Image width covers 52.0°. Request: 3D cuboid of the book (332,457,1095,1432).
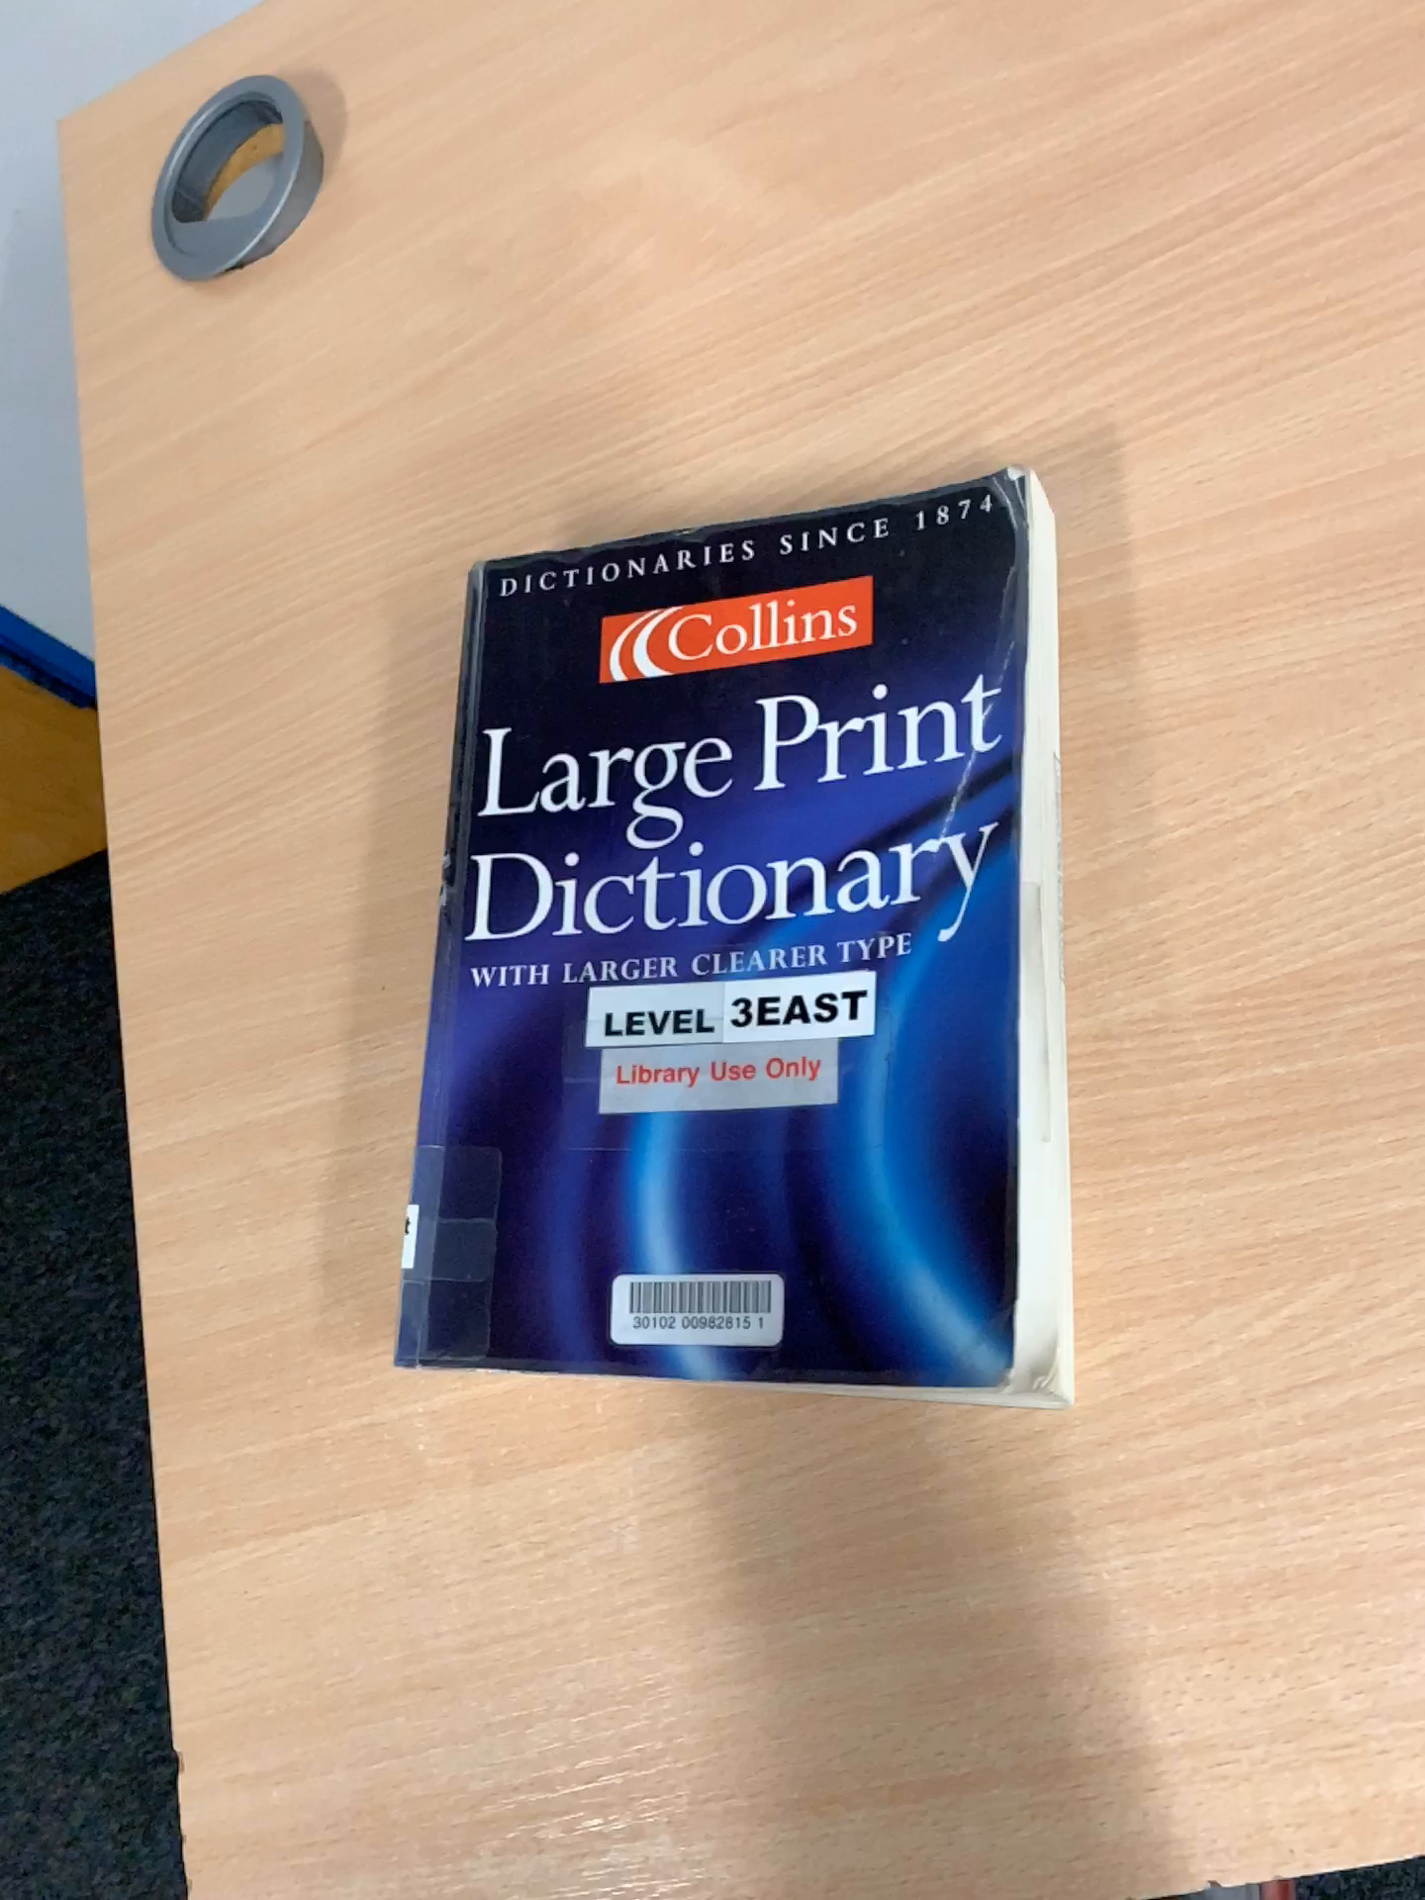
[{"bbox_3d":[0.003,-0.001,0.404,0.188,0.050,0.243,-4,73,20],"label":"book"}]
